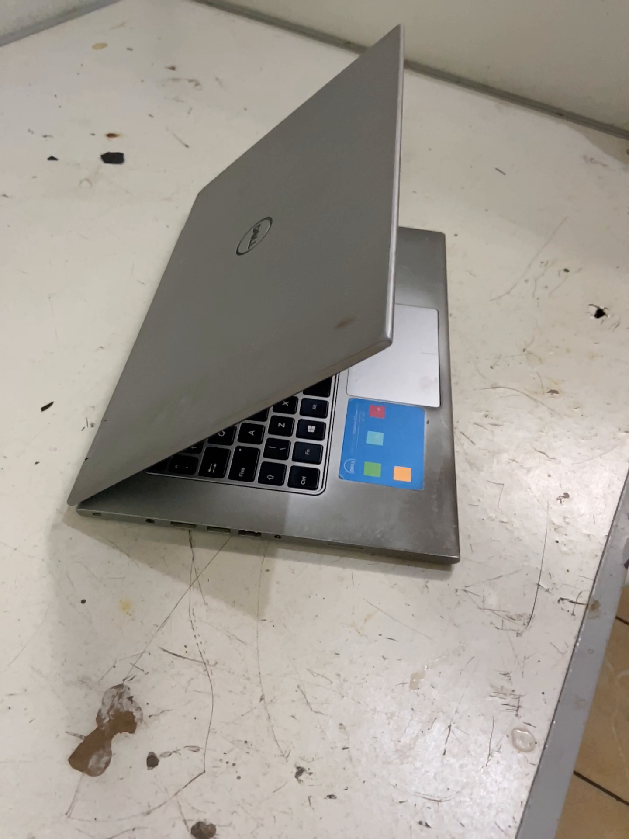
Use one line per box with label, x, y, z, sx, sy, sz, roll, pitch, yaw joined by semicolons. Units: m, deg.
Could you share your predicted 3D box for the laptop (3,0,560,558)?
laptop;-0.003;-0.111;0.415;0.218;0.155;0.328;8;49;0
